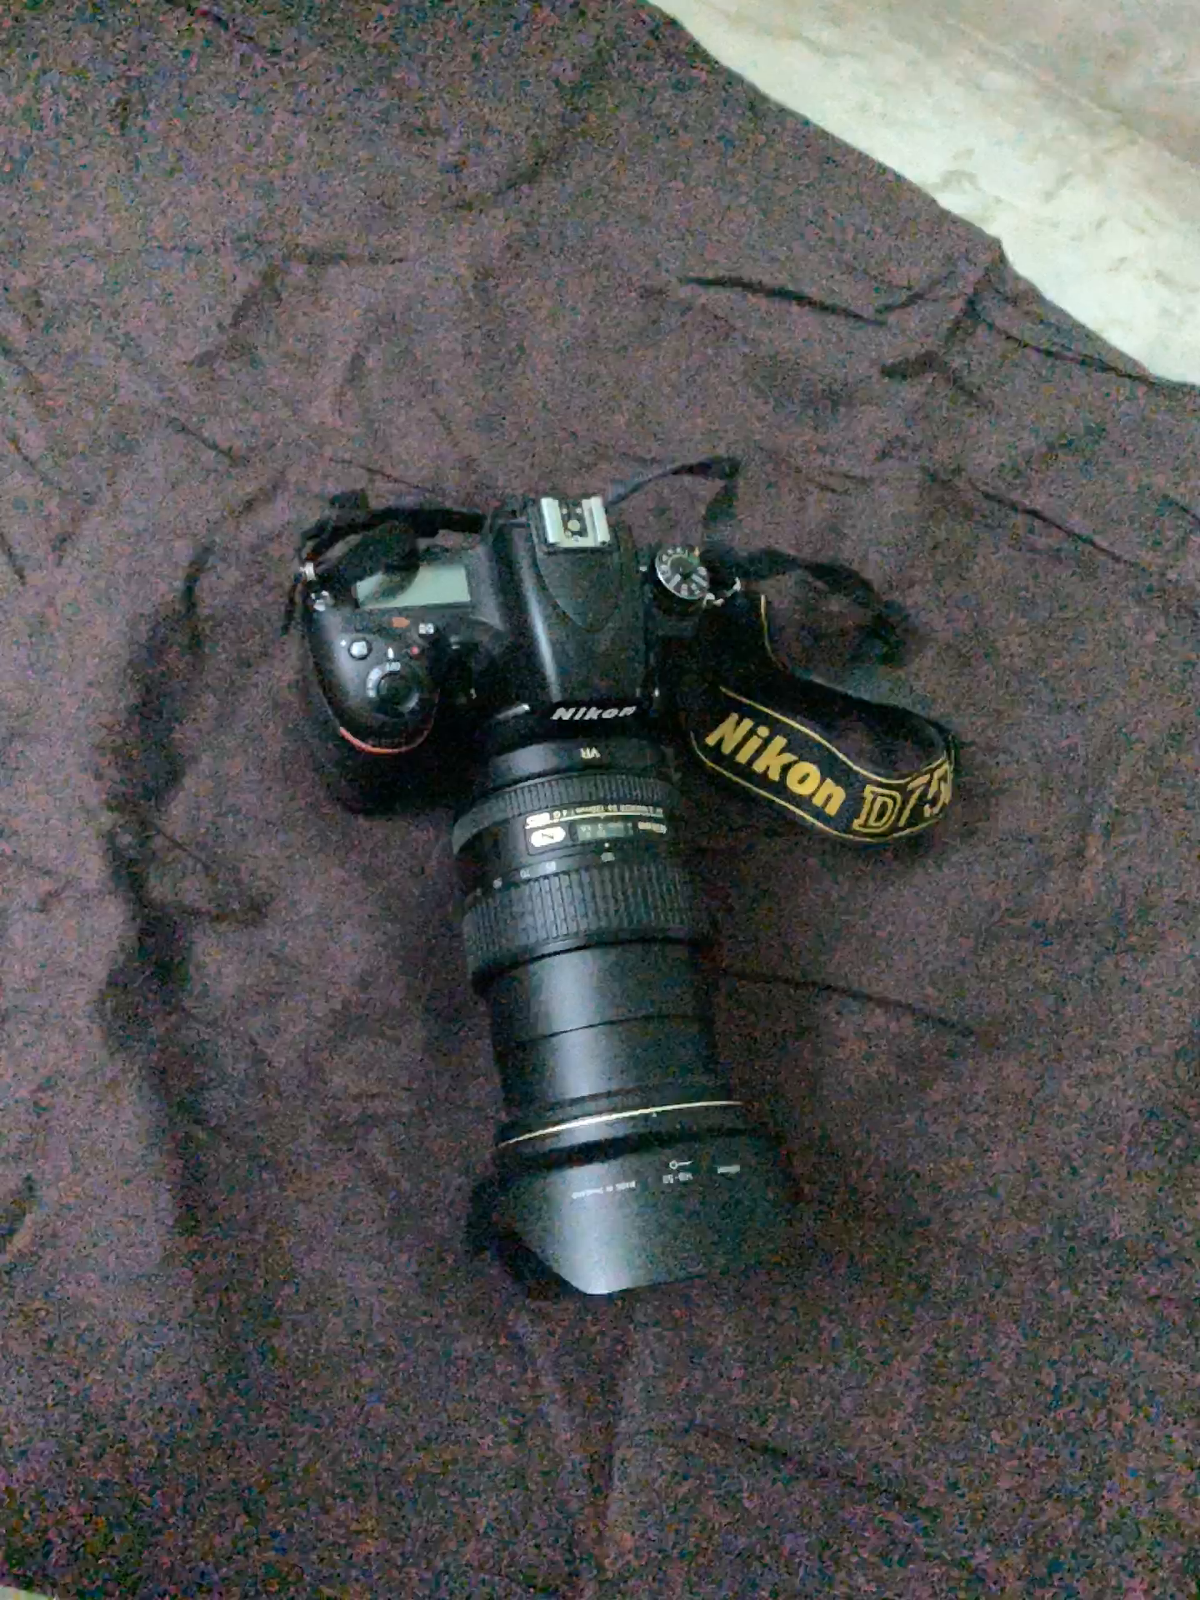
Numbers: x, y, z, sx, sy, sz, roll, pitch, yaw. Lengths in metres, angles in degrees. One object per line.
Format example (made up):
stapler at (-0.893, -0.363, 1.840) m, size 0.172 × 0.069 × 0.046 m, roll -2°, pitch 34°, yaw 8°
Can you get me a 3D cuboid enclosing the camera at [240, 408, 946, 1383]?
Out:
camera at (-0.019, 0.019, 0.409) m, size 0.161 × 0.100 × 0.279 m, roll -6°, pitch 72°, yaw -19°
